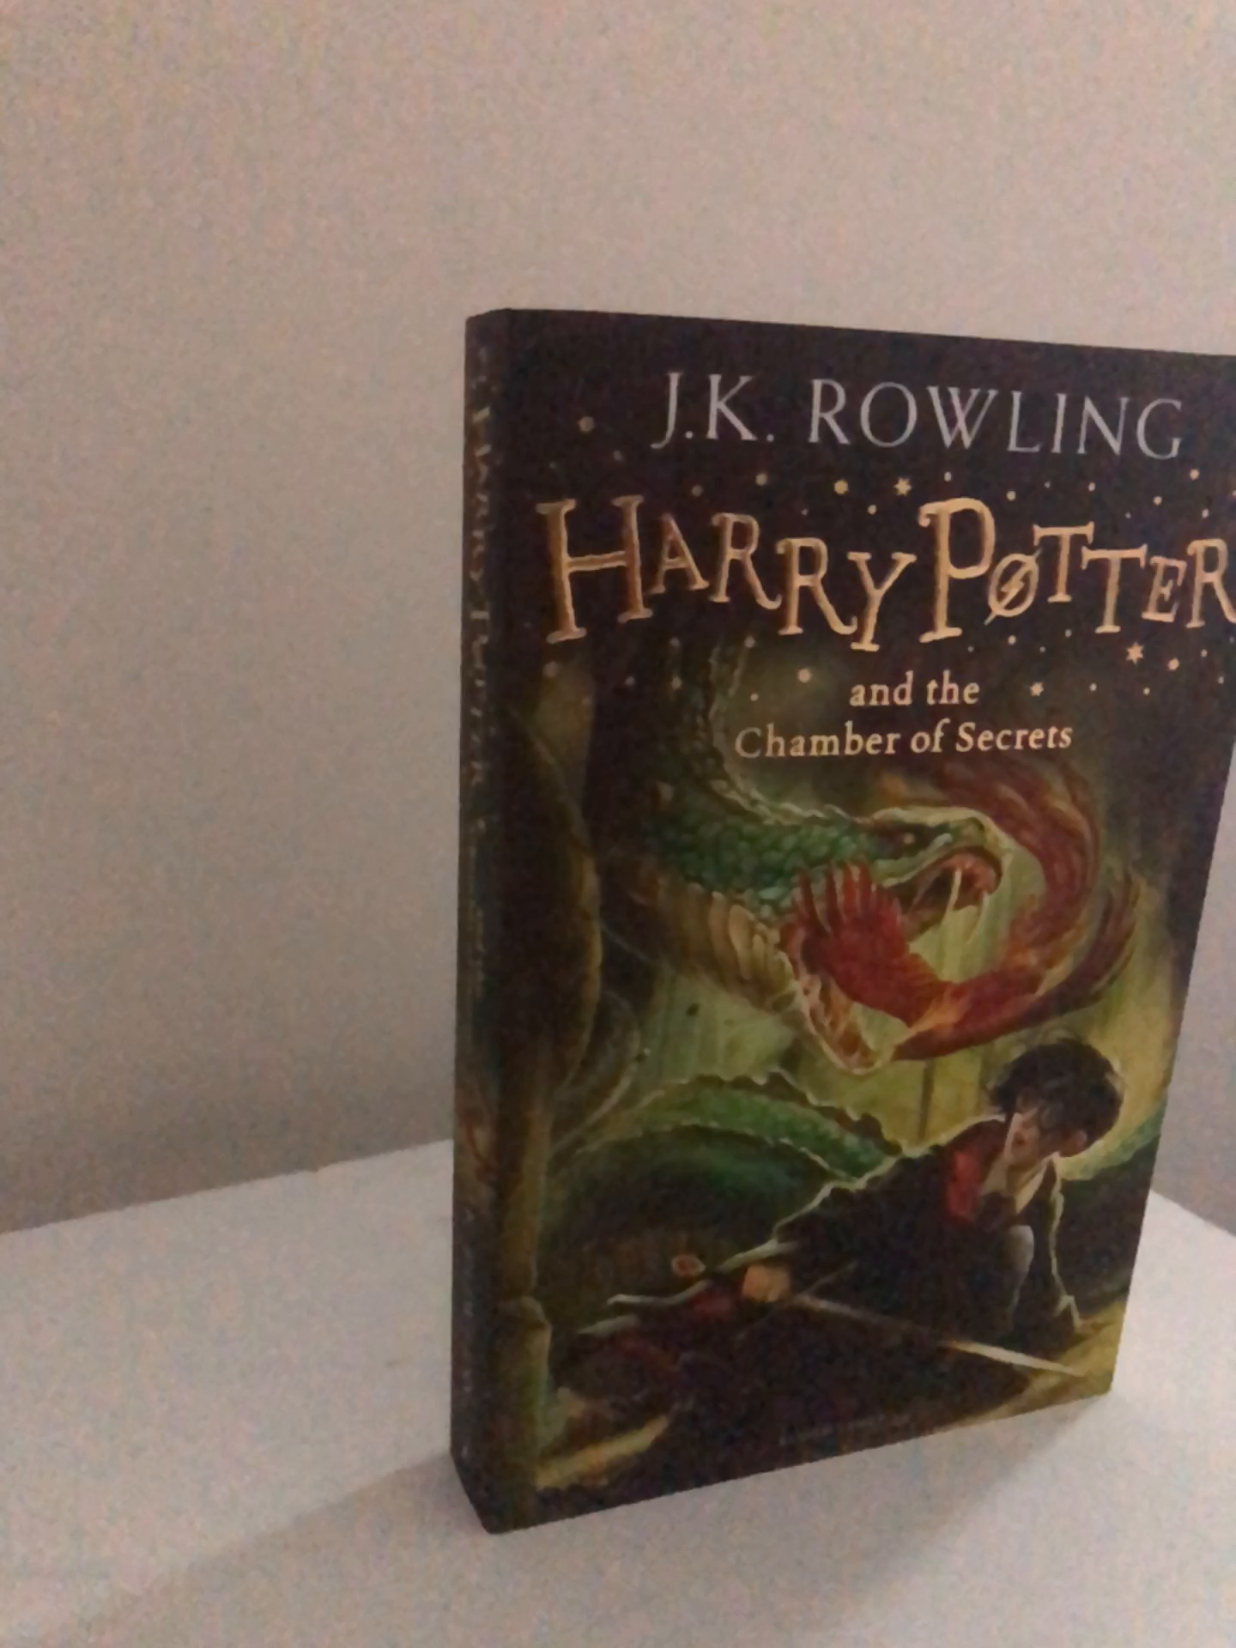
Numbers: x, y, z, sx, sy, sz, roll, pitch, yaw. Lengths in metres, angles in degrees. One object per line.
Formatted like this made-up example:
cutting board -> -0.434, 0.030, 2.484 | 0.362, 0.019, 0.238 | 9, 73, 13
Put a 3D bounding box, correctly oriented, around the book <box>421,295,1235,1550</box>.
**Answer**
book -> 0.036, 0.017, 0.235 | 0.130, 0.190, 0.039 | -3, 18, -20
